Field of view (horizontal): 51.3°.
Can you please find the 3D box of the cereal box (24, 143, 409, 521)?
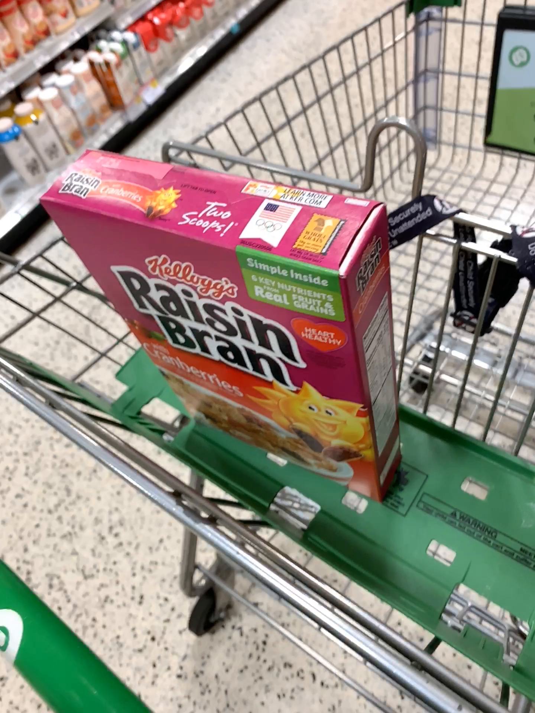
[{"bbox_3d":[-0.005,0.008,0.423,0.211,0.327,0.050,19,64,25],"label":"cereal box"}]
